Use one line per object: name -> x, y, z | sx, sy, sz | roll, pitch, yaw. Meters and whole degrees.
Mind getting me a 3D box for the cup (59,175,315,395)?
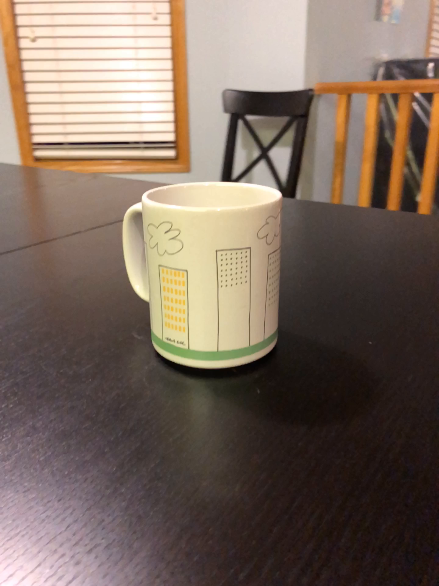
cup -> -0.018, -0.016, 0.322 | 0.130, 0.100, 0.090 | 12, 25, 29
